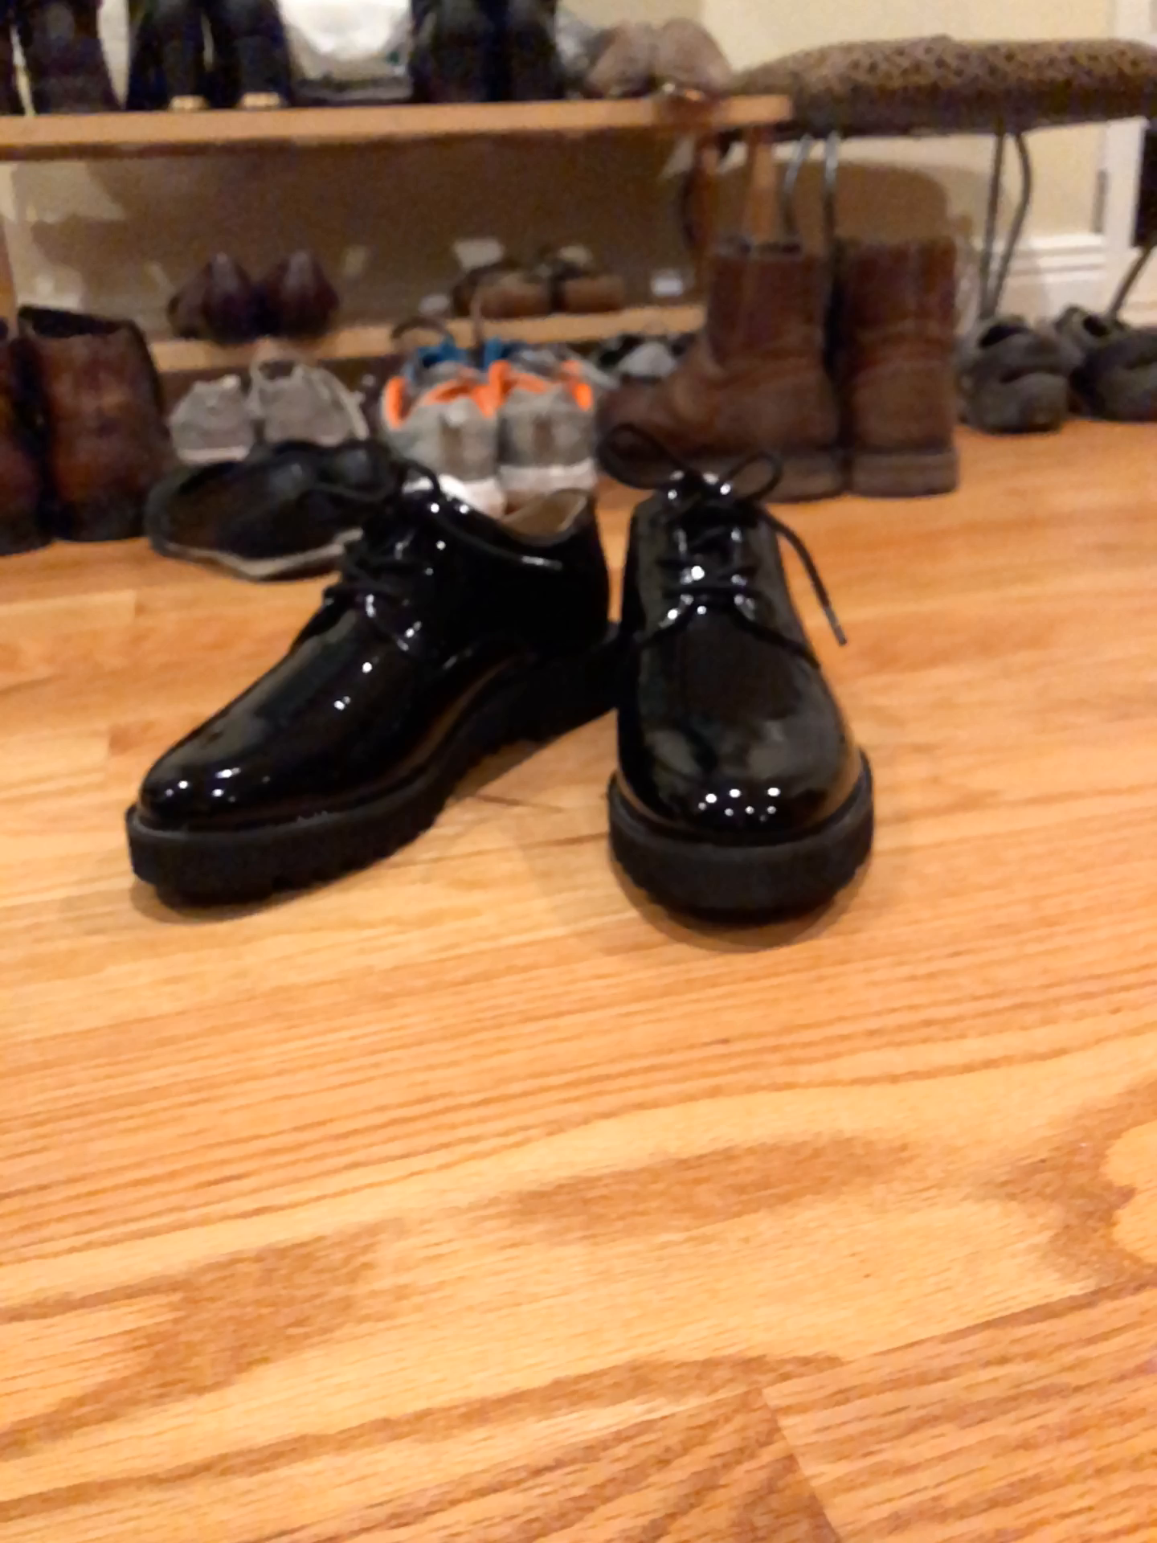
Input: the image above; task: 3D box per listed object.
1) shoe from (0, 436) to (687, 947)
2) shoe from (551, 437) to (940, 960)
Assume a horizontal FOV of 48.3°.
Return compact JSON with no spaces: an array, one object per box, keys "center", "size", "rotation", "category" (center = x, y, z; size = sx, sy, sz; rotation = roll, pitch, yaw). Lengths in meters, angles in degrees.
[{"center":[-0.068,-0.049,0.469],"size":[0.095,0.102,0.252],"rotation":[13,28,34],"category":"shoe"},{"center":[0.053,-0.044,0.452],"size":[0.095,0.101,0.252],"rotation":[-1,23,5],"category":"shoe"}]
